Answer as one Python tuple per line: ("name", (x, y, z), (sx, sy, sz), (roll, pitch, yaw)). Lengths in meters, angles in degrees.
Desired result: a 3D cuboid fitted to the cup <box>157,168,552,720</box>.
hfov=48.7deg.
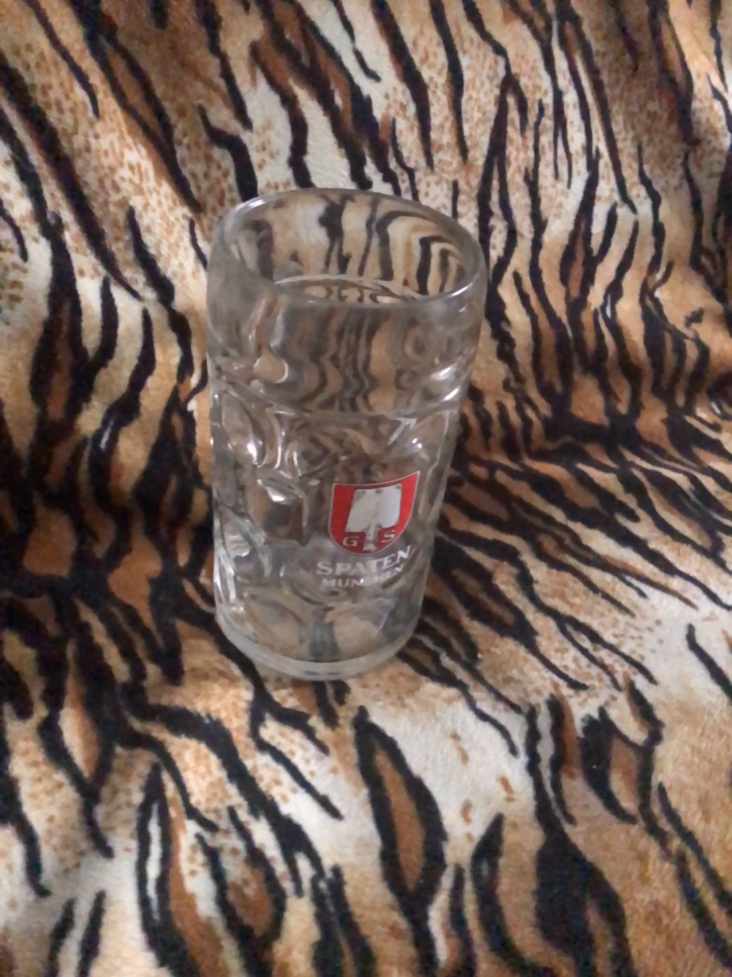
("cup", (-0.017, -0.025, 0.382), (0.120, 0.194, 0.150), (-9, 40, -14))
